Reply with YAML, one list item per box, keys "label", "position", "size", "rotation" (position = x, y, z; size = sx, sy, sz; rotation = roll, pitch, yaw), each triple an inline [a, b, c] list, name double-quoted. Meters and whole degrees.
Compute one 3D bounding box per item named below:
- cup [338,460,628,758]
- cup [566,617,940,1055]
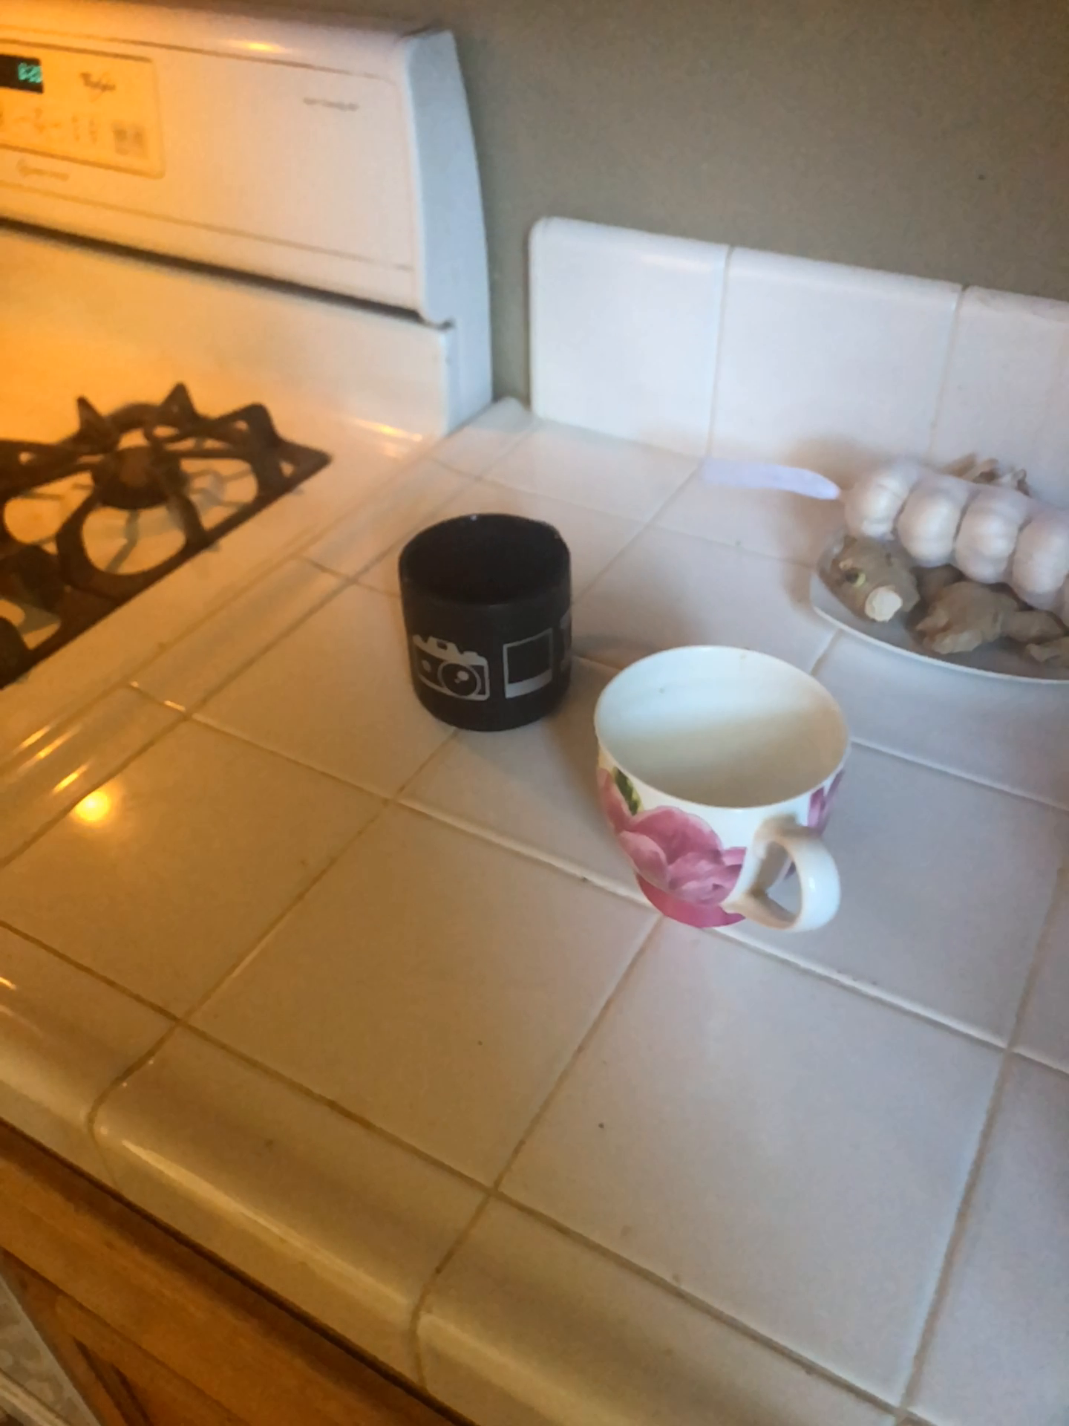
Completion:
- label: "cup"
  position: [-0.022, -0.062, 0.649]
  size: [0.100, 0.079, 0.141]
  rotation: [16, 43, 19]
- label: "cup"
  position: [0.082, 0.046, 0.507]
  size: [0.100, 0.089, 0.151]
  rotation: [-10, 41, -10]
